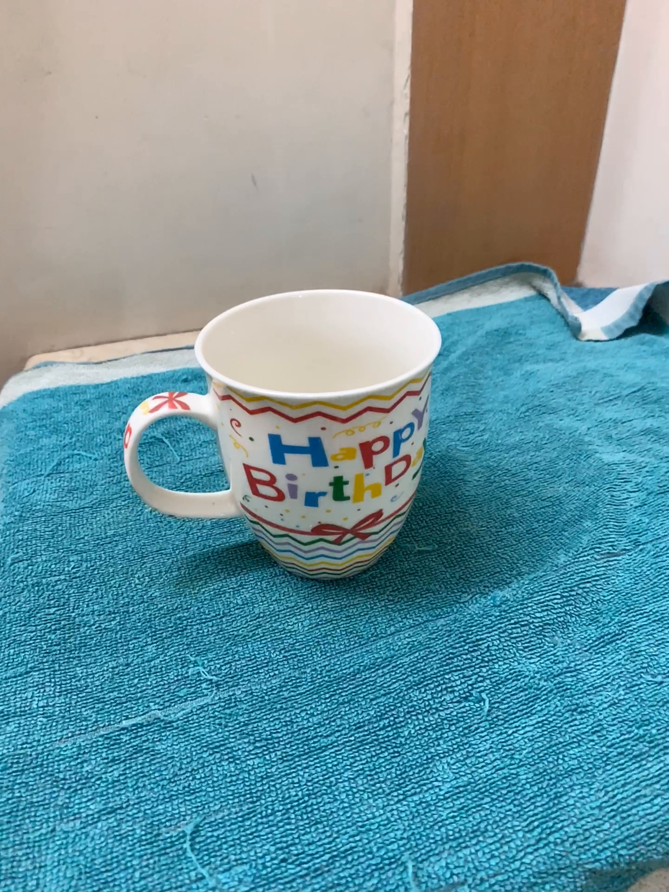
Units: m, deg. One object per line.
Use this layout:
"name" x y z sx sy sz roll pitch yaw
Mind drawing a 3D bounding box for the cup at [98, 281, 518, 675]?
"cup" -0.015 0.006 0.273 0.130 0.099 0.091 -10 34 -12
